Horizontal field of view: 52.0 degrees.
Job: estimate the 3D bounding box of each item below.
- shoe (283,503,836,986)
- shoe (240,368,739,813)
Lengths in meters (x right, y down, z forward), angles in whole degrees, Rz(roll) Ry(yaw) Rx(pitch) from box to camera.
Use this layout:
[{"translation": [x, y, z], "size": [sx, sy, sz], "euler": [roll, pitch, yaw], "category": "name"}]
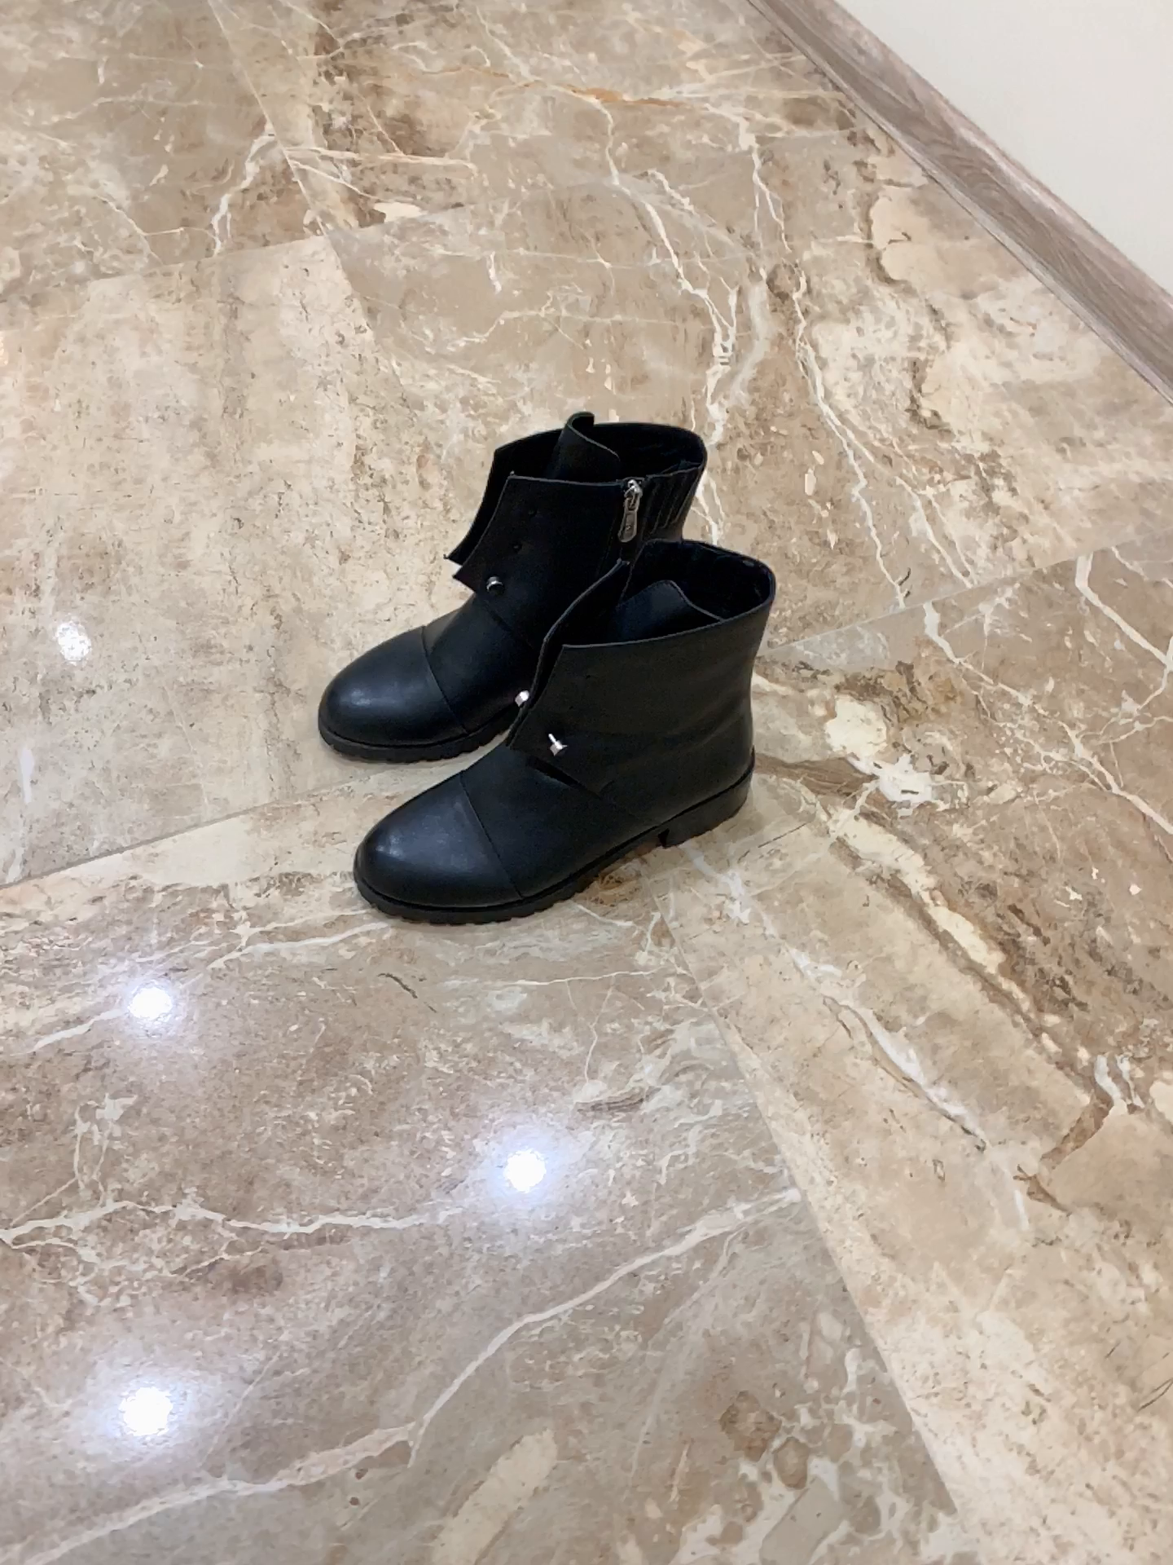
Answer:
[{"translation": [-0.013, -0.015, 0.658], "size": [0.250, 0.199, 0.090], "euler": [-19, 57, -14], "category": "shoe"}, {"translation": [-0.050, -0.109, 0.722], "size": [0.250, 0.199, 0.090], "euler": [-17, 57, -10], "category": "shoe"}]
